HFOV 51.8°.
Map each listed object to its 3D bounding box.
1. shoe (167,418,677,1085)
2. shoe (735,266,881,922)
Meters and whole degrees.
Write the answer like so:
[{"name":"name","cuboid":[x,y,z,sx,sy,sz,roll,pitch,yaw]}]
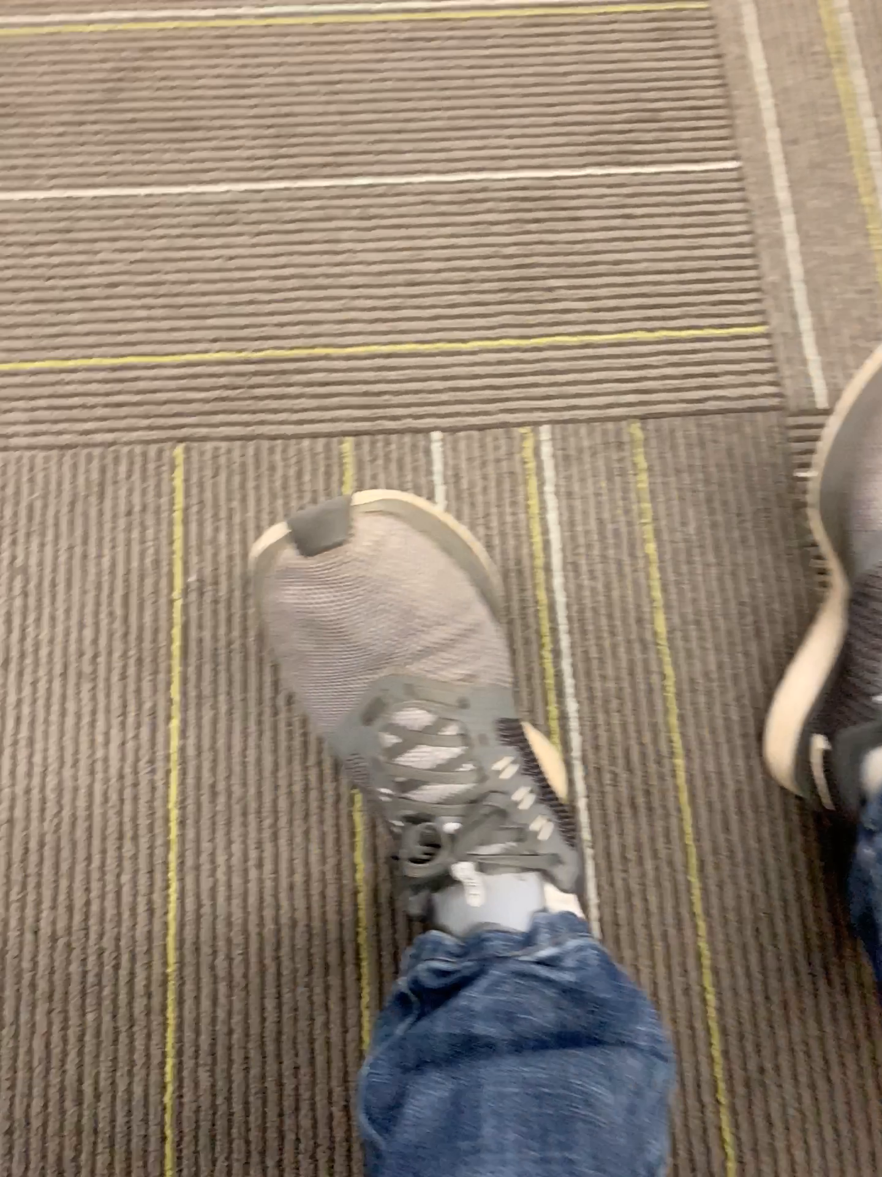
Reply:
[{"name":"shoe","cuboid":[0.006,0.094,0.411,0.119,0.294,0.122,-23,42,2]},{"name":"shoe","cuboid":[0.248,0.002,0.447,0.119,0.122,0.294,0,112,-6]}]
